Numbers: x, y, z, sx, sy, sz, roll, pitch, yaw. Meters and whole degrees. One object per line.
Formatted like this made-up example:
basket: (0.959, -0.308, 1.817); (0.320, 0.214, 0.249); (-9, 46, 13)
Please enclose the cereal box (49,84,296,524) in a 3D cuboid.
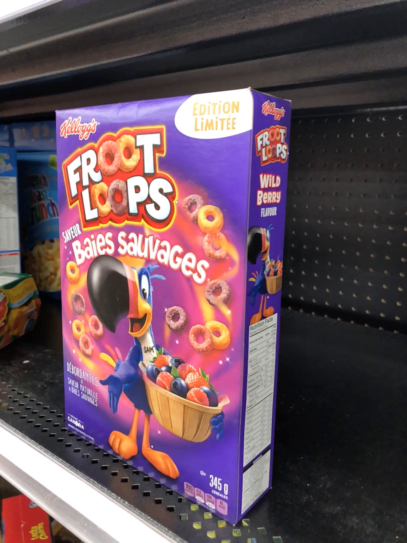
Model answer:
cereal box: (-0.039, 0.015, 0.371); (0.210, 0.289, 0.050); (10, 14, 38)
